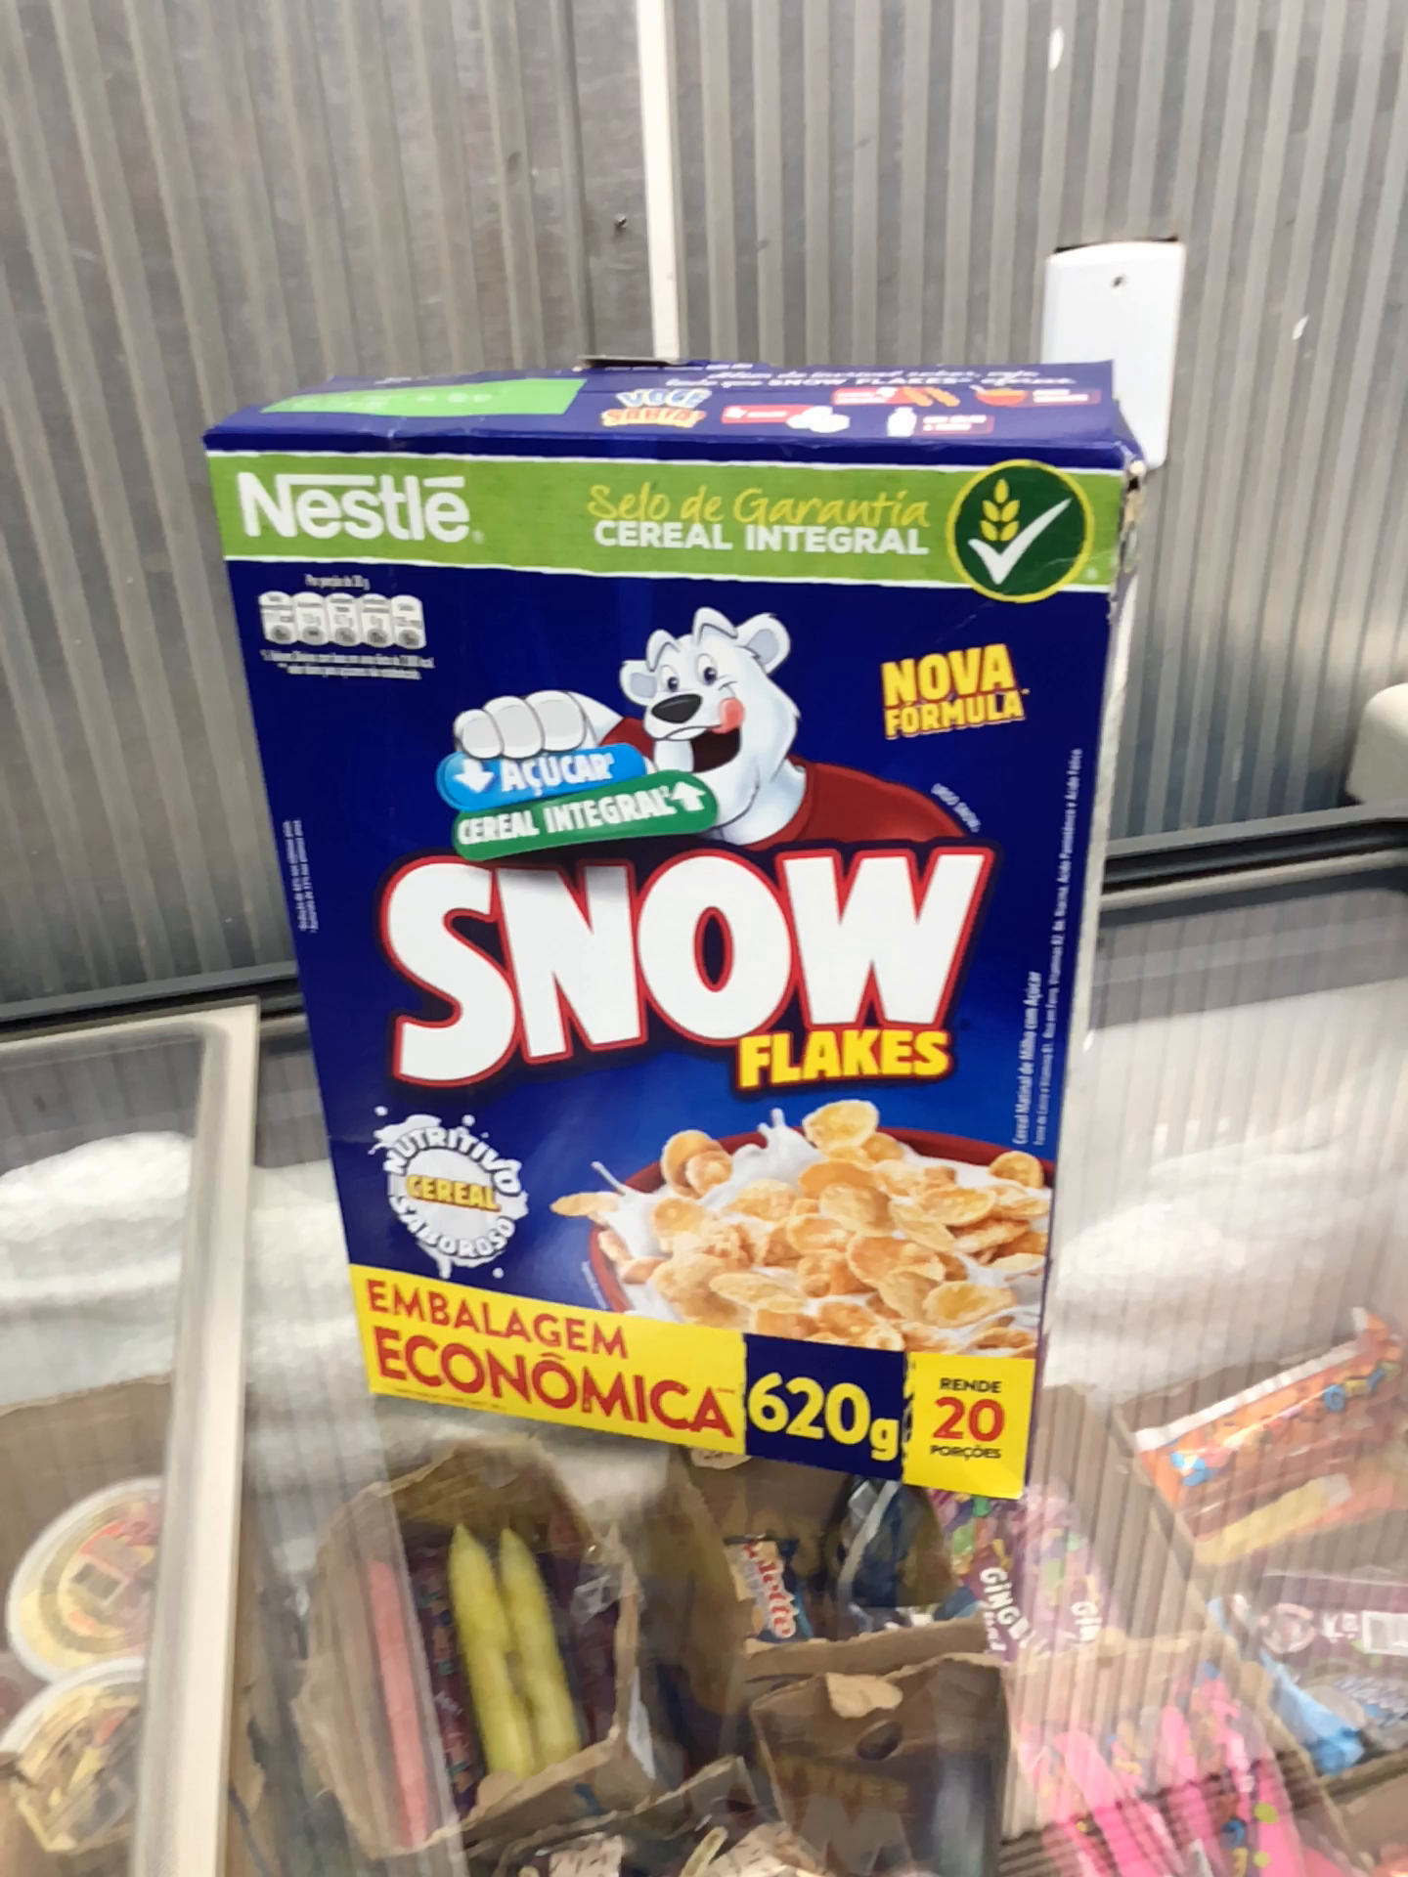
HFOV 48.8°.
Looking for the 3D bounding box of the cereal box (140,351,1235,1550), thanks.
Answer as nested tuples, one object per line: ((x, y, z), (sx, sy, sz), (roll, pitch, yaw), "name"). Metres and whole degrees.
((0.002, 0.011, 0.420), (0.230, 0.308, 0.070), (6, 31, 14), "cereal box")
